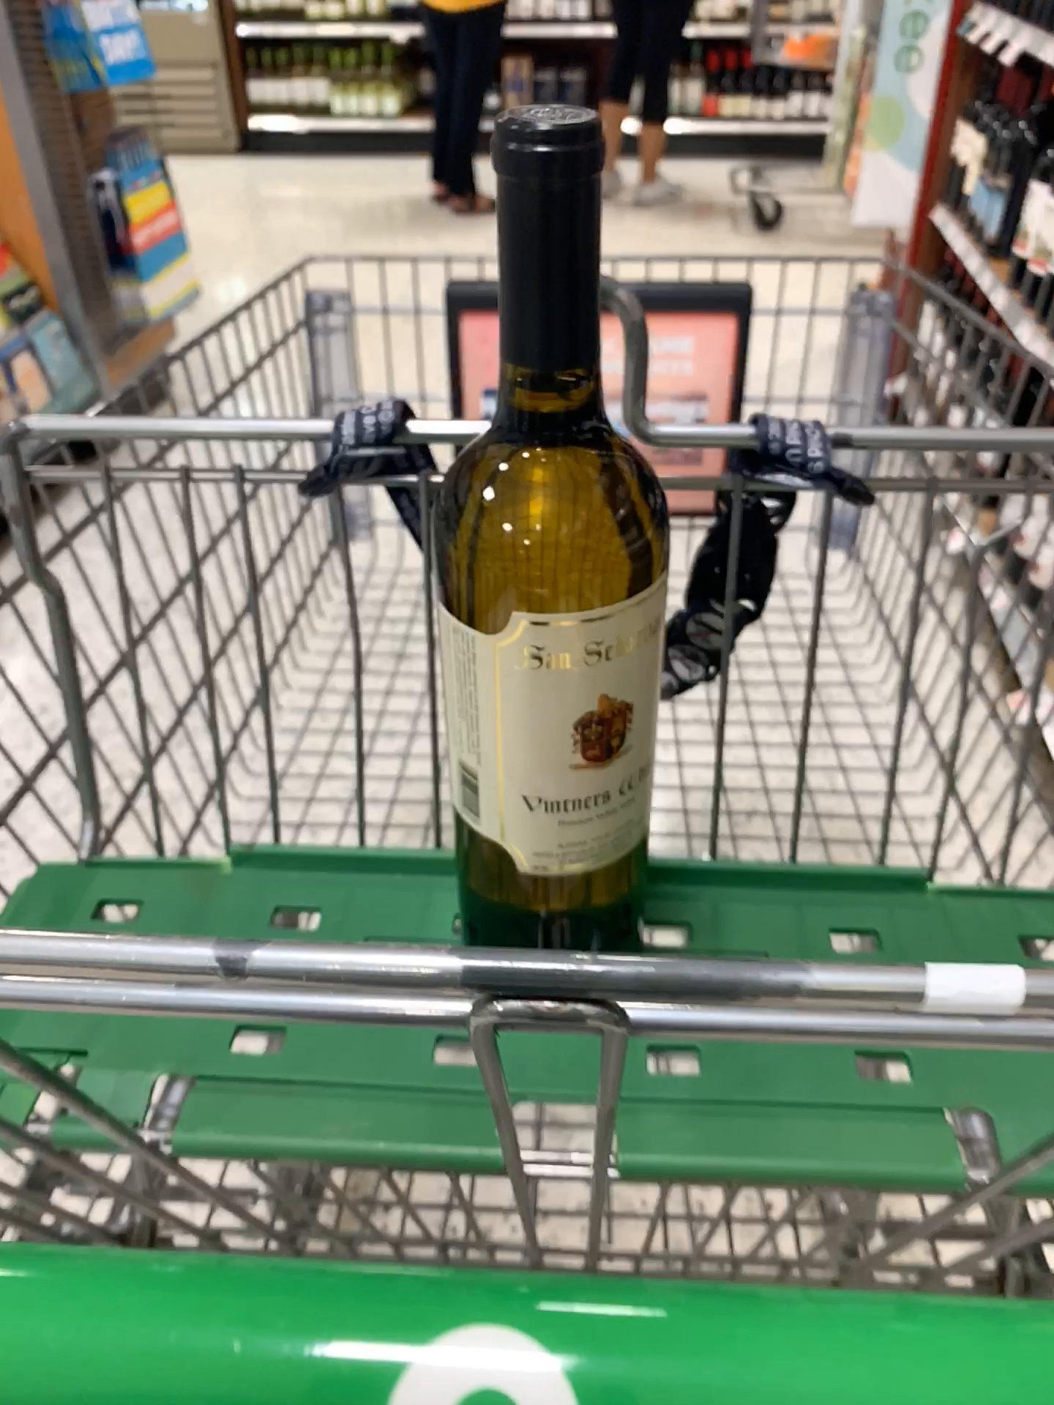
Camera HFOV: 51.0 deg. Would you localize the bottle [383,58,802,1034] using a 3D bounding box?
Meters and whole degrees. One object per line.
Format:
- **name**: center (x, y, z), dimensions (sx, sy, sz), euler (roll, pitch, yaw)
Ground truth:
- **bottle**: center (0.016, -0.029, 0.363), dimensions (0.080, 0.307, 0.071), euler (-16, 39, -20)
